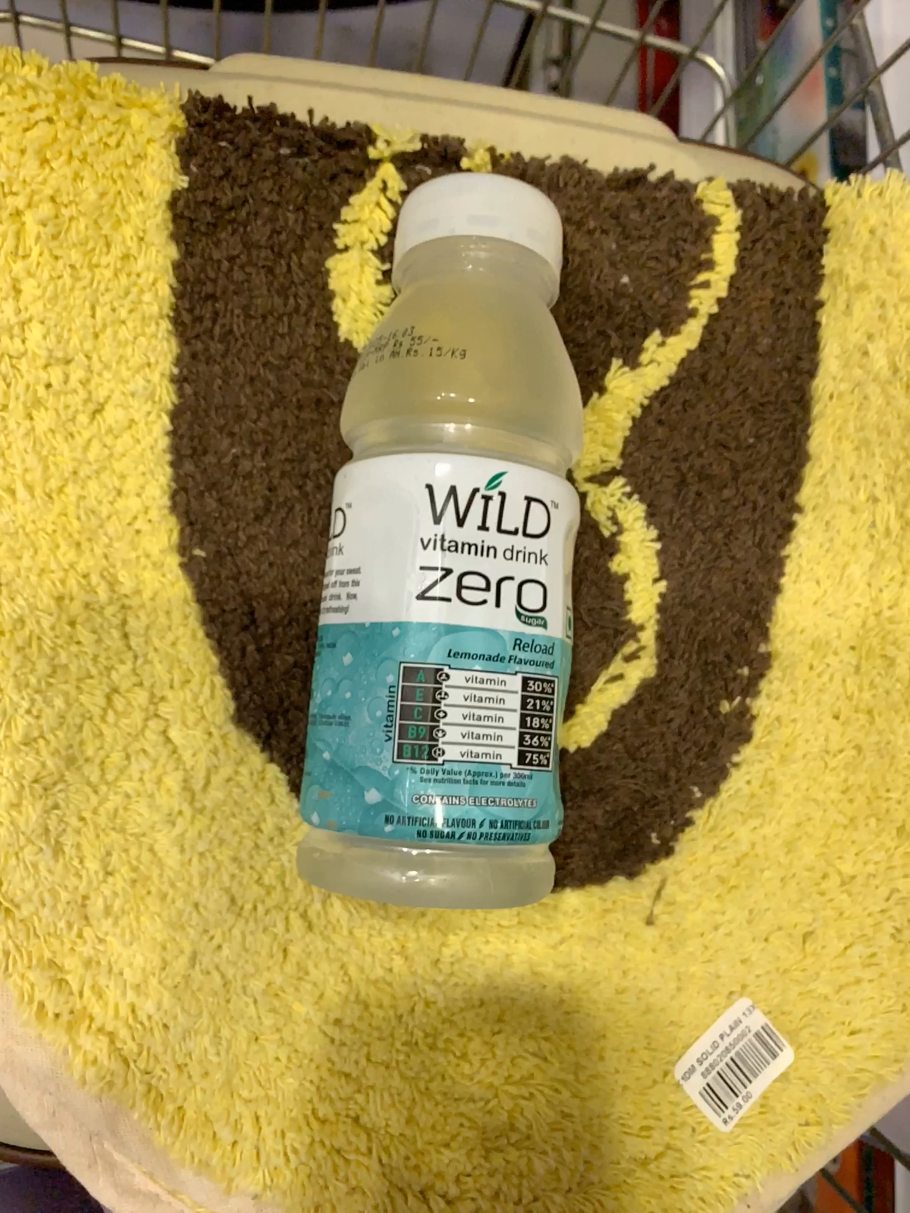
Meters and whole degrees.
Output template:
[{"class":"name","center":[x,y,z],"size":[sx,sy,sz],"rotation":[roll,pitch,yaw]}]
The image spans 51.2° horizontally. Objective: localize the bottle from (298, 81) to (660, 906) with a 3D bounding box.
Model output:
[{"class":"bottle","center":[0.005,-0.022,0.205],"size":[0.060,0.040,0.160],"rotation":[6,80,-11]}]
